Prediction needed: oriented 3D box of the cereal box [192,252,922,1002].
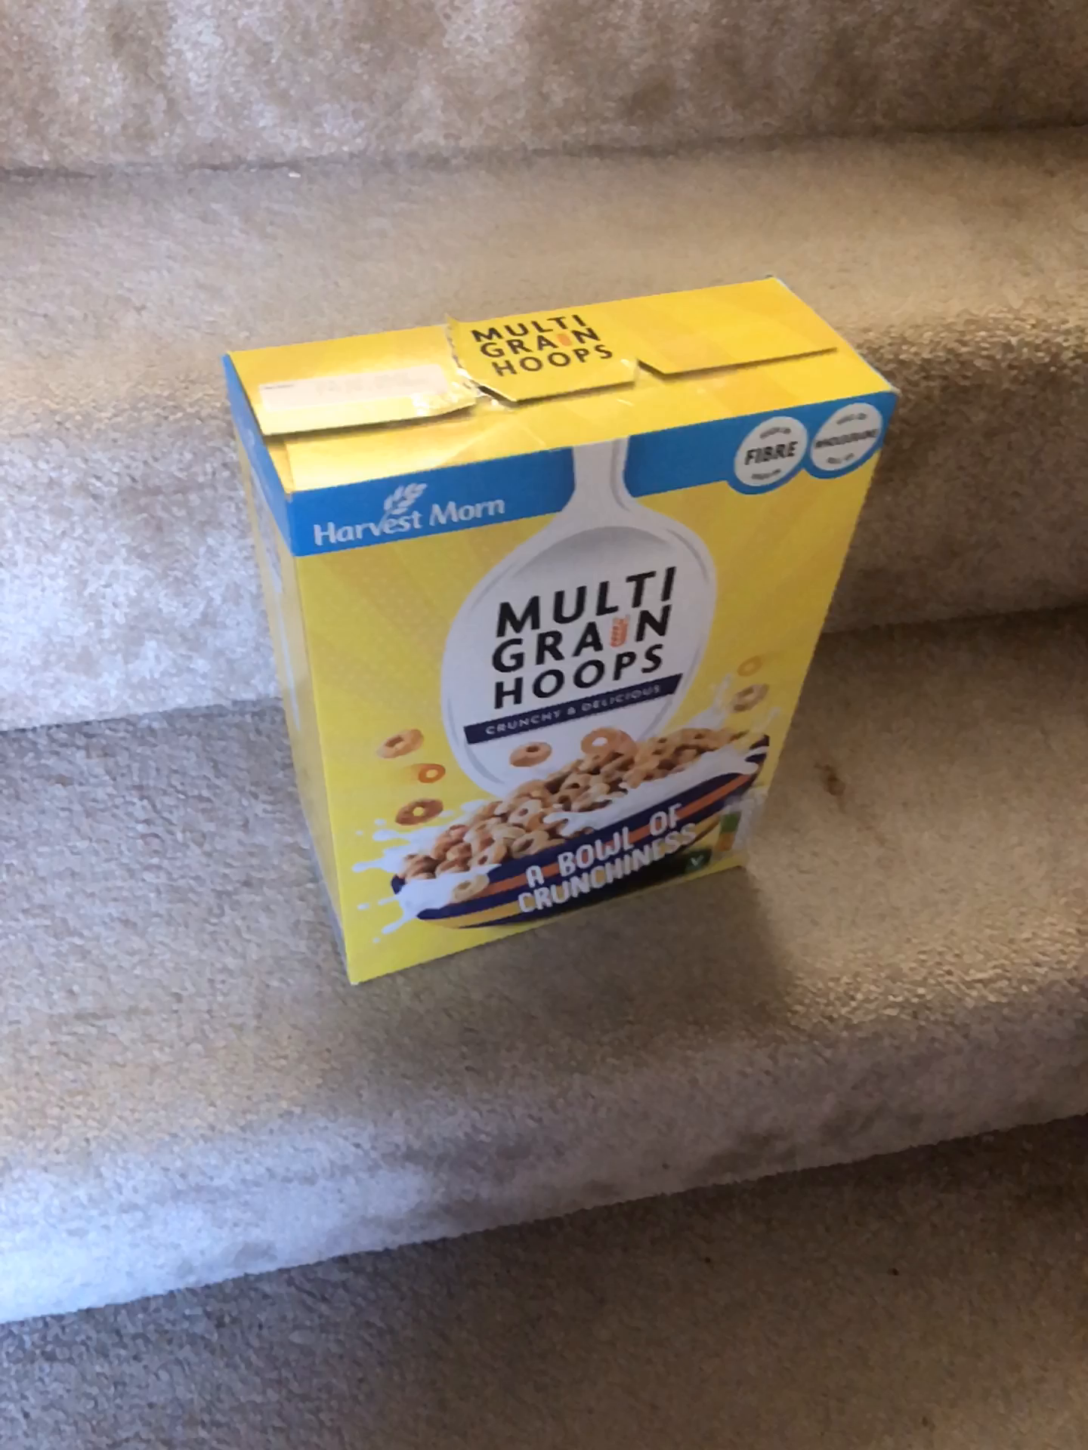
[{"bbox_3d":[-0.002,-0.025,0.455,0.200,0.248,0.090,-15,51,-16],"label":"cereal box"}]
